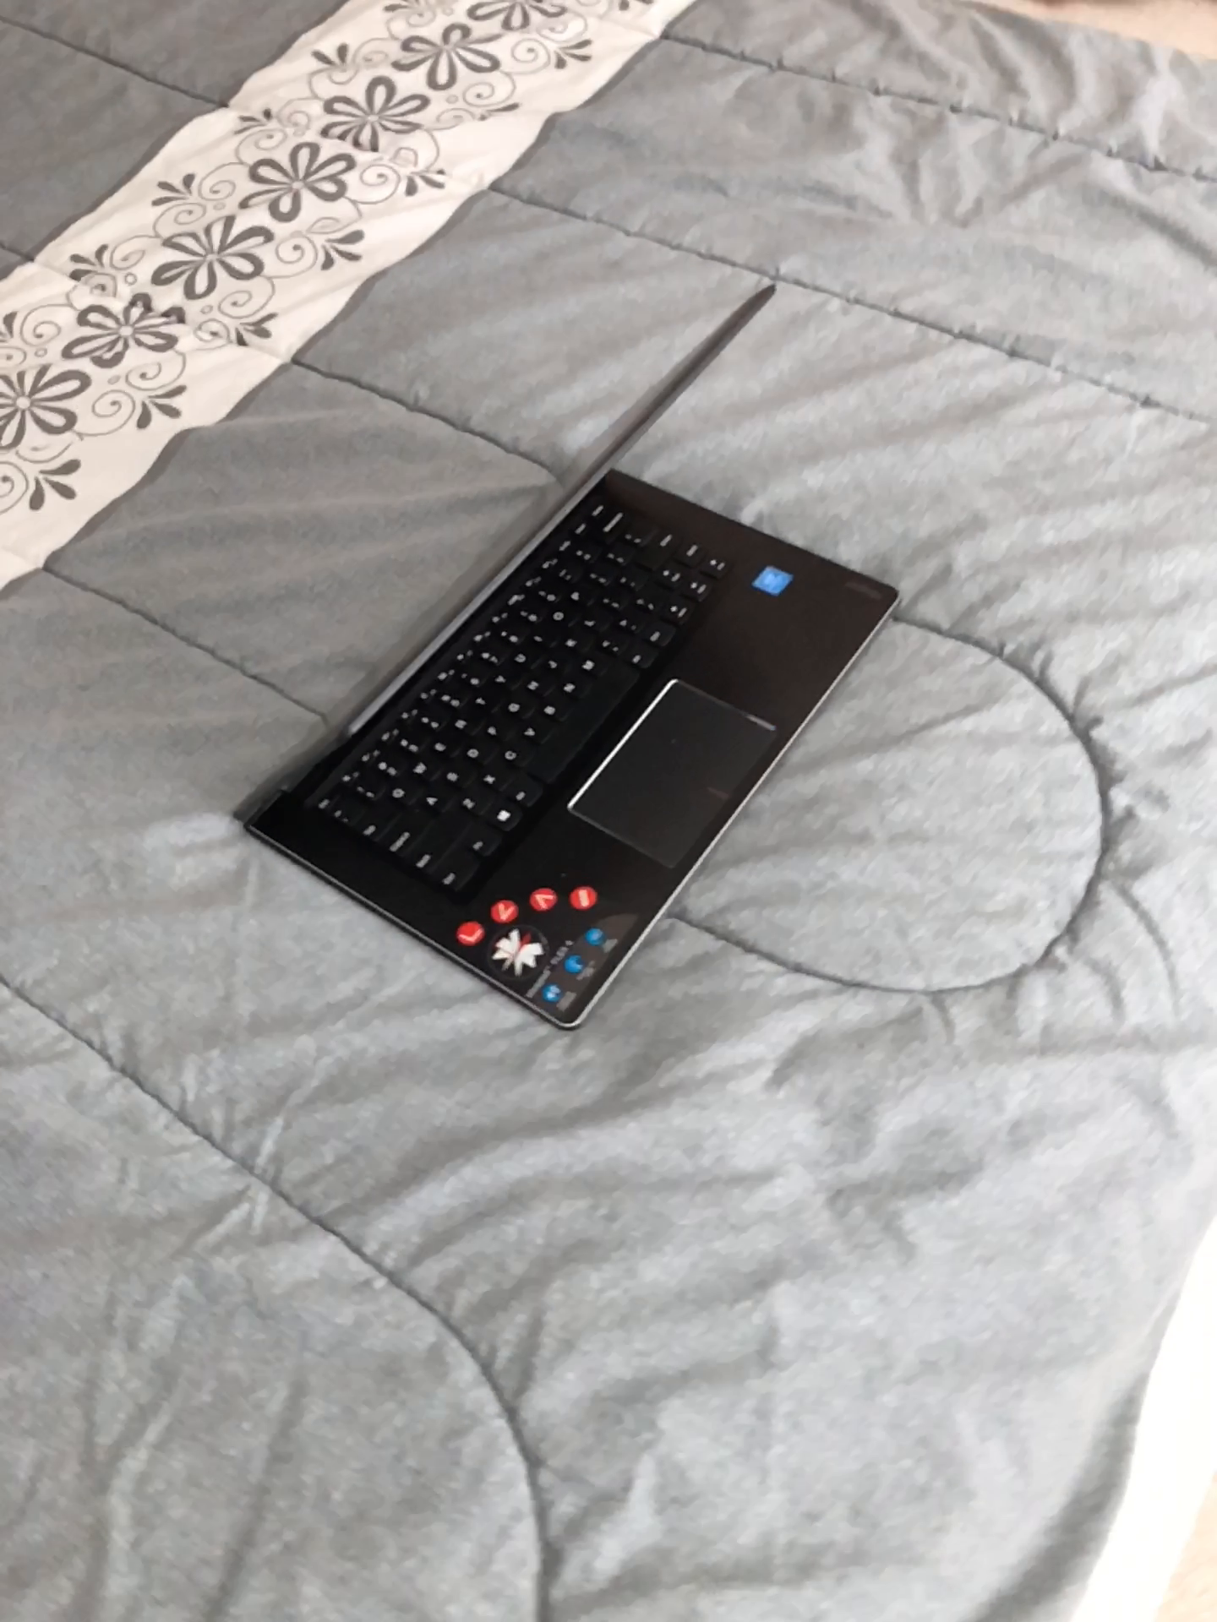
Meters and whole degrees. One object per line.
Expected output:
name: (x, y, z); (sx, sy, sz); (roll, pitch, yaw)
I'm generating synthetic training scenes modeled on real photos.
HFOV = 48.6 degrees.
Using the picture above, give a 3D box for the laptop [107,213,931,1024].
laptop: (-0.025, -0.103, 0.644); (0.214, 0.168, 0.305); (28, 64, 23)
